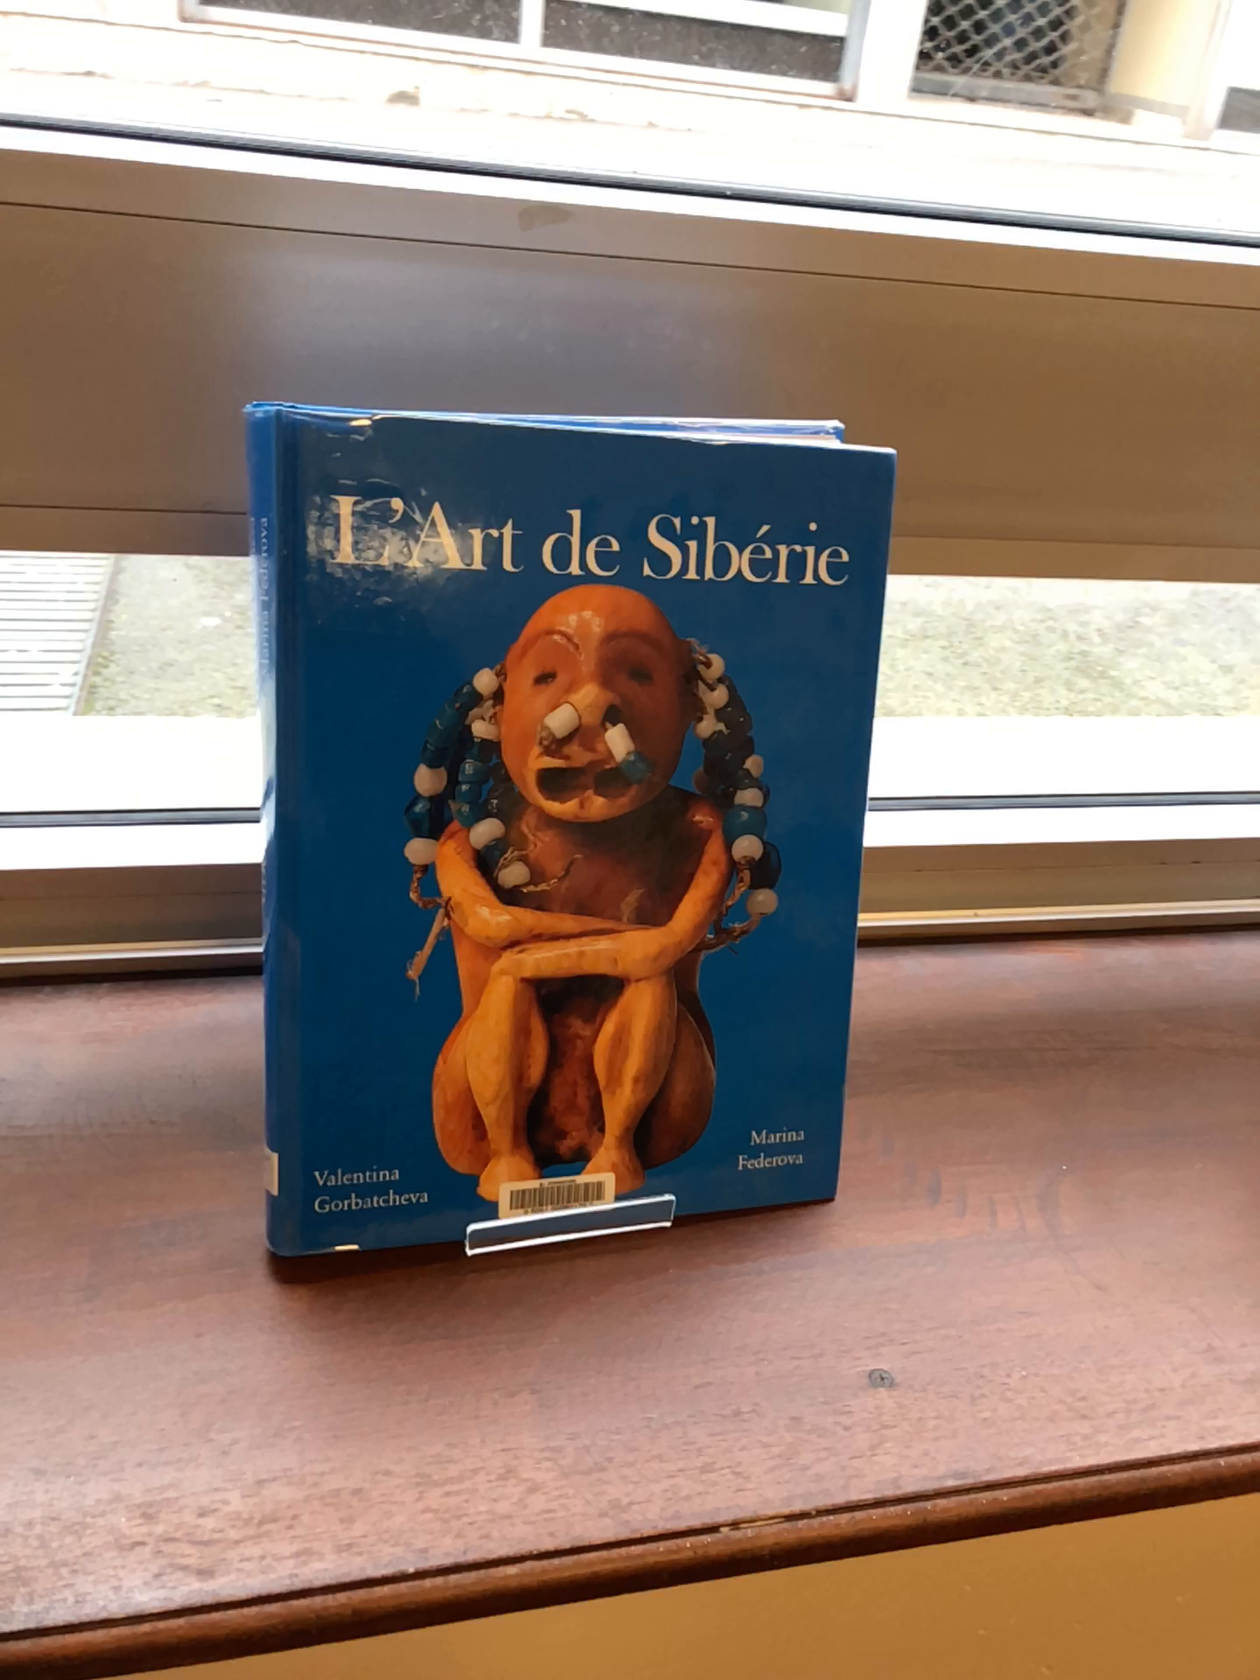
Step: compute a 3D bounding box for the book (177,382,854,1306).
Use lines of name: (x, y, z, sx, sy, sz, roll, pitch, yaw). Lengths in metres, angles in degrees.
book: (-0.042, 0.002, 0.567, 0.254, 0.349, 0.044, -4, 14, -18)
